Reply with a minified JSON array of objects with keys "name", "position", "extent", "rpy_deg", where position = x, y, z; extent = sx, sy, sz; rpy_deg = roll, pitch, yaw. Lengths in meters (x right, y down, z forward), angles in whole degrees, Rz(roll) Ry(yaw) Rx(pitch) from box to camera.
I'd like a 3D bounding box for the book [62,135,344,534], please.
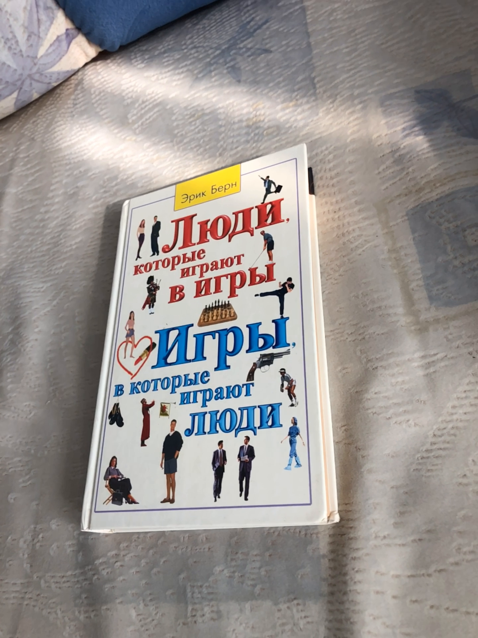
[{"name":"book","position":[-0.020,0.005,0.298],"extent":[0.135,0.030,0.211],"rpy_deg":[-10,62,21]}]
